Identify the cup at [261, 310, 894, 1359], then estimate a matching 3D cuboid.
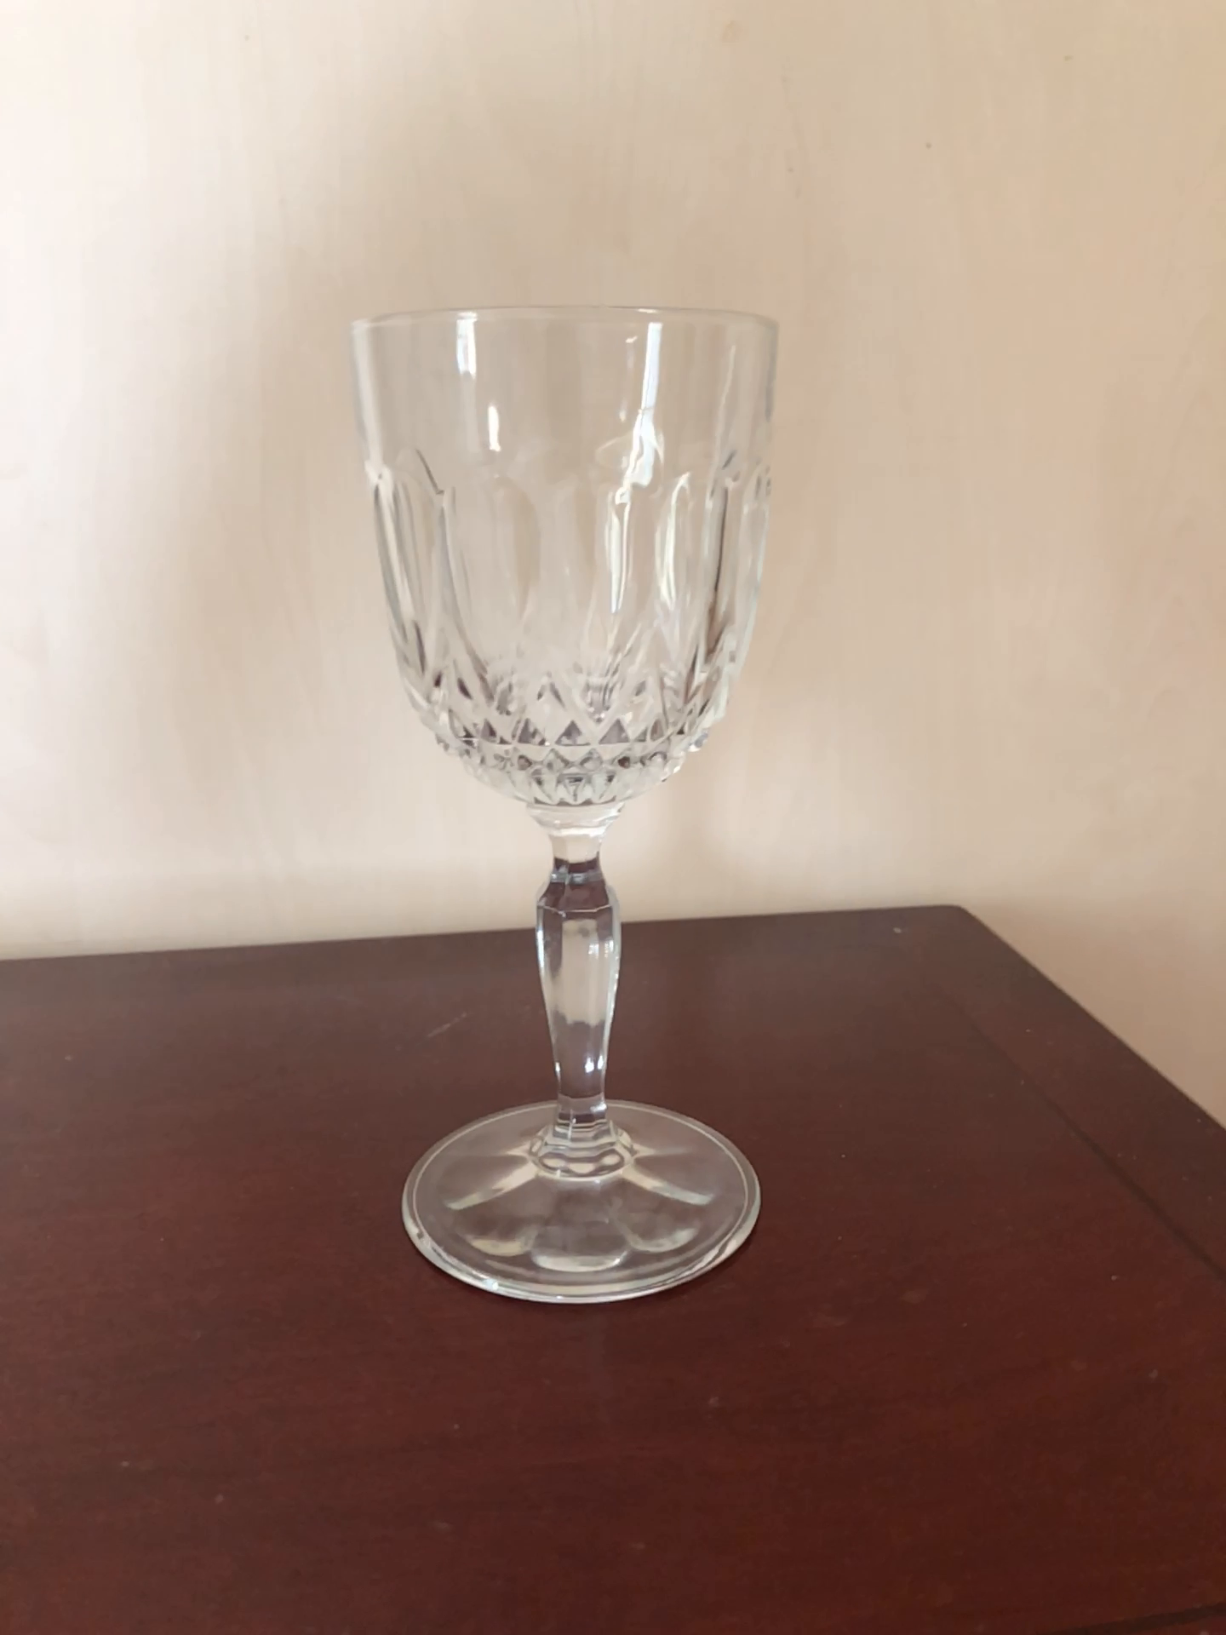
[{"bbox_3d":[-0.008,-0.003,0.272,0.096,0.179,0.092,-1,15,0],"label":"cup"}]
